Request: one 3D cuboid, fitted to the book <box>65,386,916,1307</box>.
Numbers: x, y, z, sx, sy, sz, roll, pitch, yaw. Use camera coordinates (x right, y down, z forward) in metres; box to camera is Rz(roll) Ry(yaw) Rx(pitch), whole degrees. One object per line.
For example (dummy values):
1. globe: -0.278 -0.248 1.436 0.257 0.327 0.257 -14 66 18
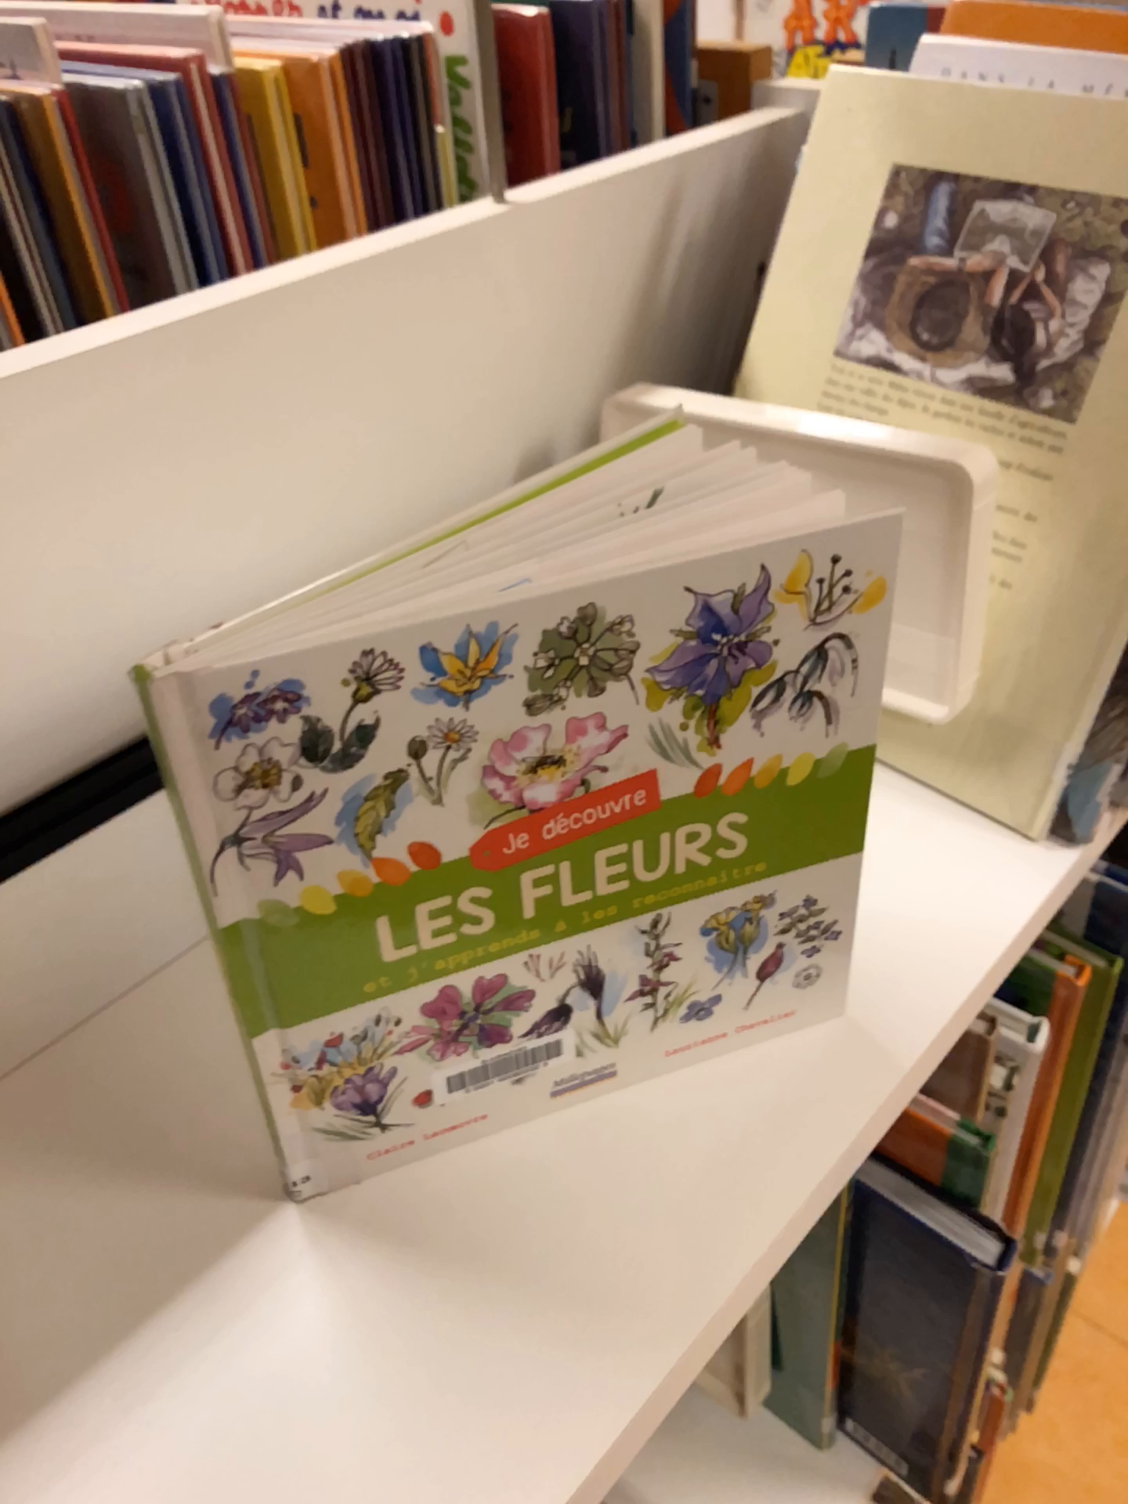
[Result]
1. book: -0.013 0.025 0.403 0.209 0.214 0.104 -21 38 -22
